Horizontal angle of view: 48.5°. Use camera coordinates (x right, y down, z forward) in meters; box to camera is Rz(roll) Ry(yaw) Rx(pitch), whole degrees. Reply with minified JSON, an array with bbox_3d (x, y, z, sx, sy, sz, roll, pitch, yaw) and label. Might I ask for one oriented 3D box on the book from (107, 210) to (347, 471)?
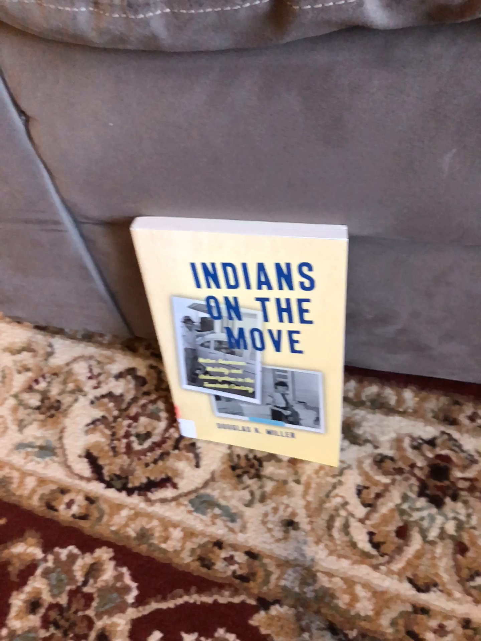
[{"bbox_3d":[0.002,0.025,0.429,0.160,0.230,0.030,6,42,19],"label":"book"}]
